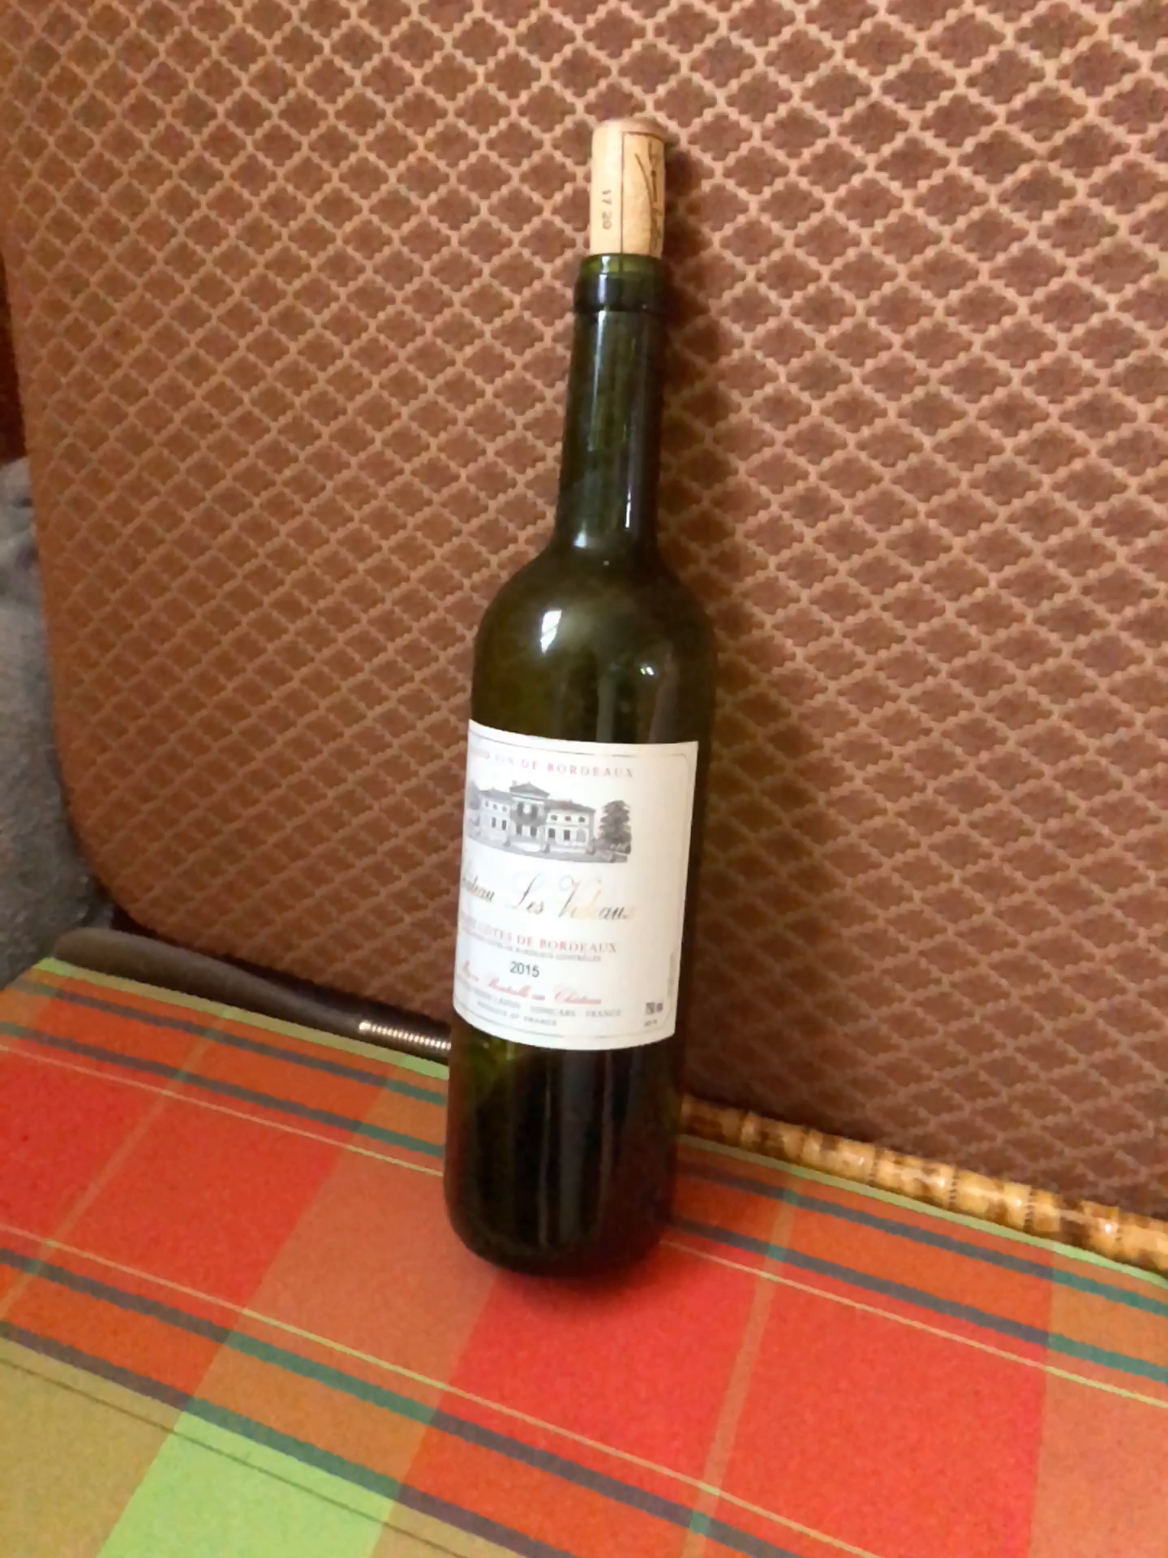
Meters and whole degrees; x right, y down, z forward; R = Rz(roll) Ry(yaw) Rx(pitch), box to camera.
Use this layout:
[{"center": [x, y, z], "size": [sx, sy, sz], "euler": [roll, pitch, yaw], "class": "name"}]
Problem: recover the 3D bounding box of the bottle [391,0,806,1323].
[{"center": [0.001, -0.026, 0.378], "size": [0.080, 0.339, 0.070], "euler": [9, 11, 31], "class": "bottle"}]
